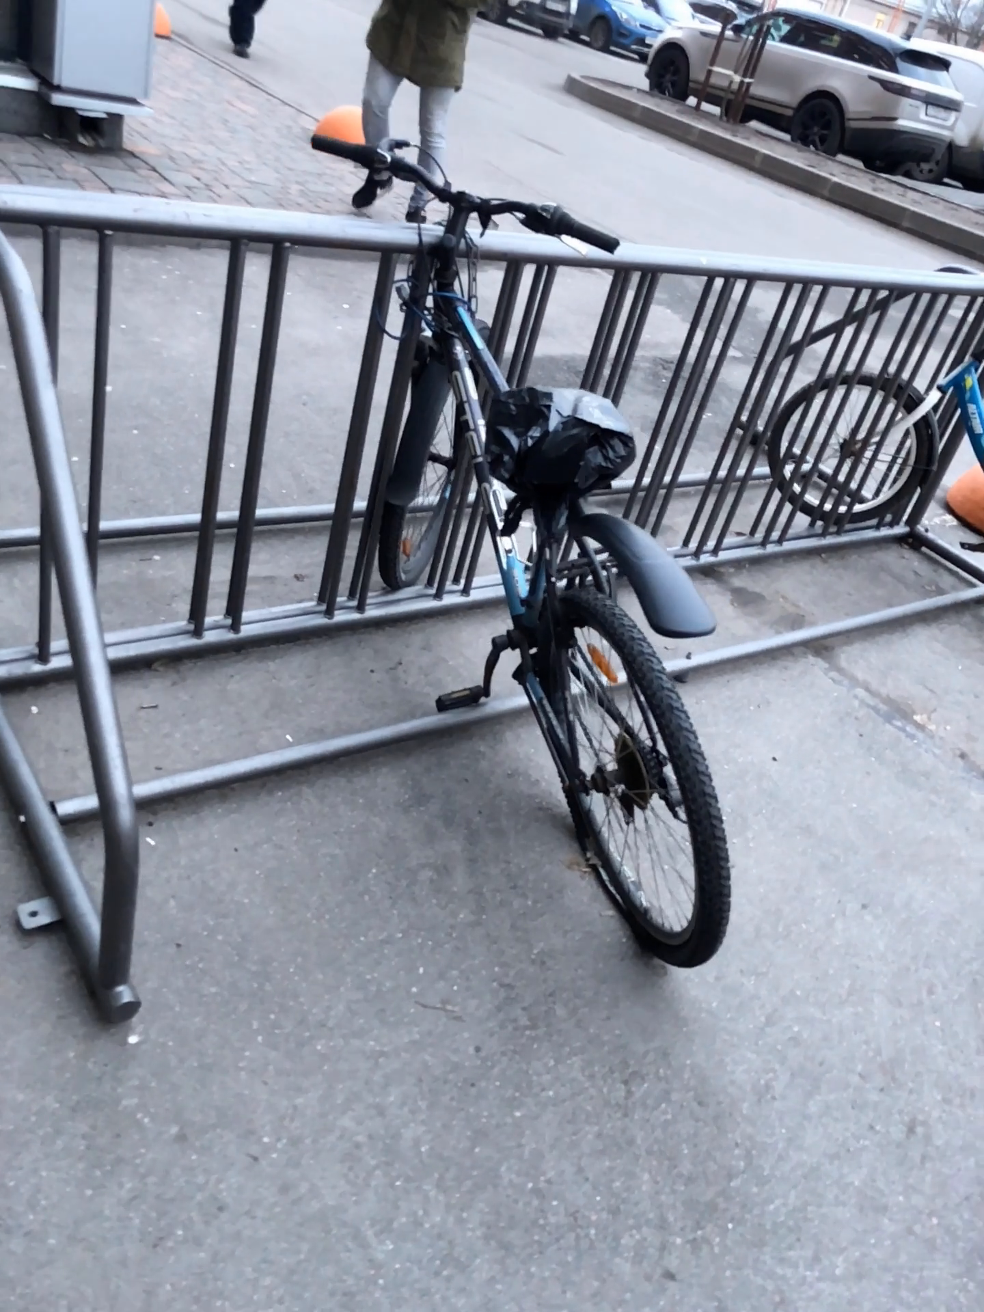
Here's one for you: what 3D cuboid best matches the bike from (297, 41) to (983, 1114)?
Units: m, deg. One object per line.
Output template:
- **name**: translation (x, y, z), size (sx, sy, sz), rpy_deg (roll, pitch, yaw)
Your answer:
- **bike**: translation (0.054, -0.289, 1.958), size (0.535, 1.050, 1.593), rpy_deg (5, 37, -20)
